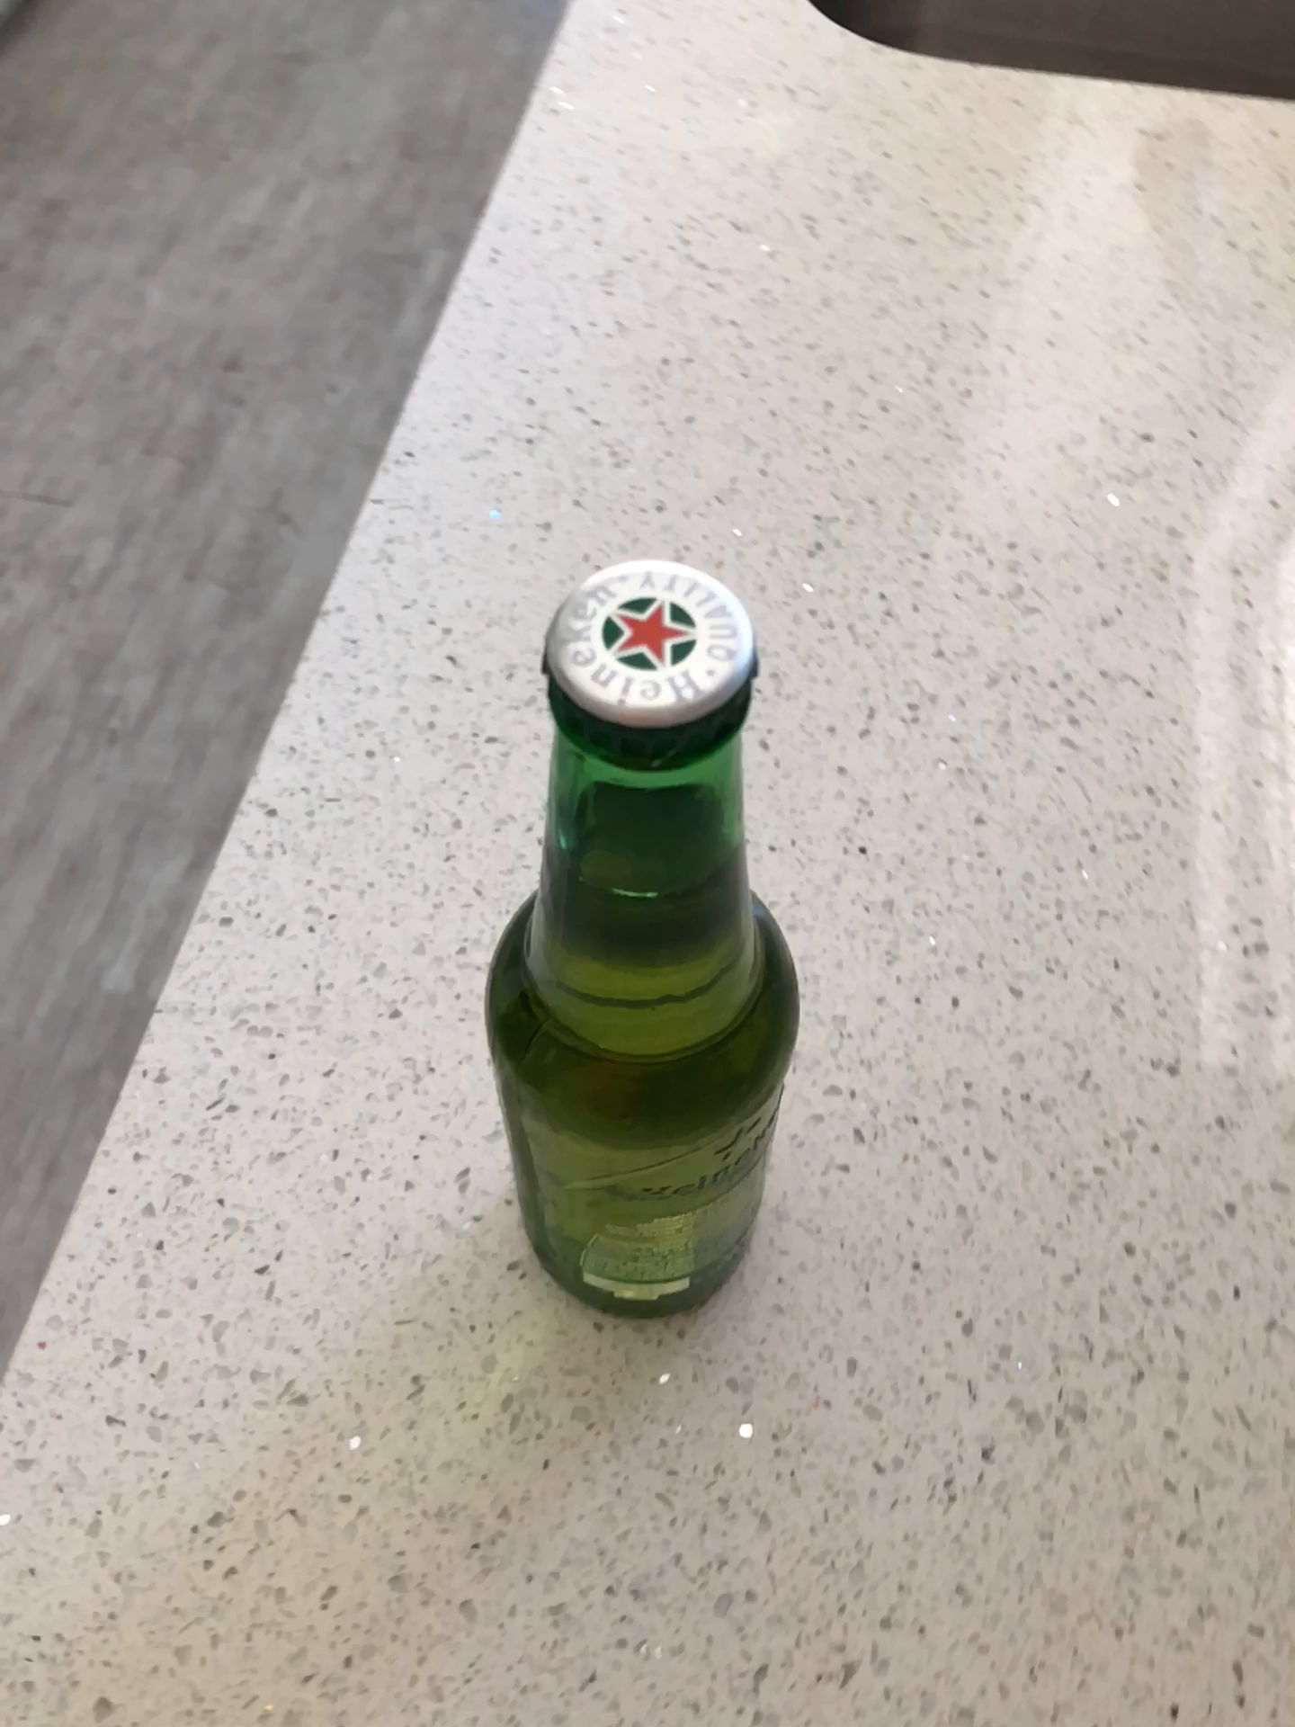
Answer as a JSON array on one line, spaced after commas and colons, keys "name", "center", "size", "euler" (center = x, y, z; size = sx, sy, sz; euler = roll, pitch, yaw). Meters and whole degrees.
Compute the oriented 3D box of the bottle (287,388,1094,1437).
[{"name": "bottle", "center": [0.004, 0.031, 0.264], "size": [0.070, 0.210, 0.070], "euler": [0, 57, 0]}]
